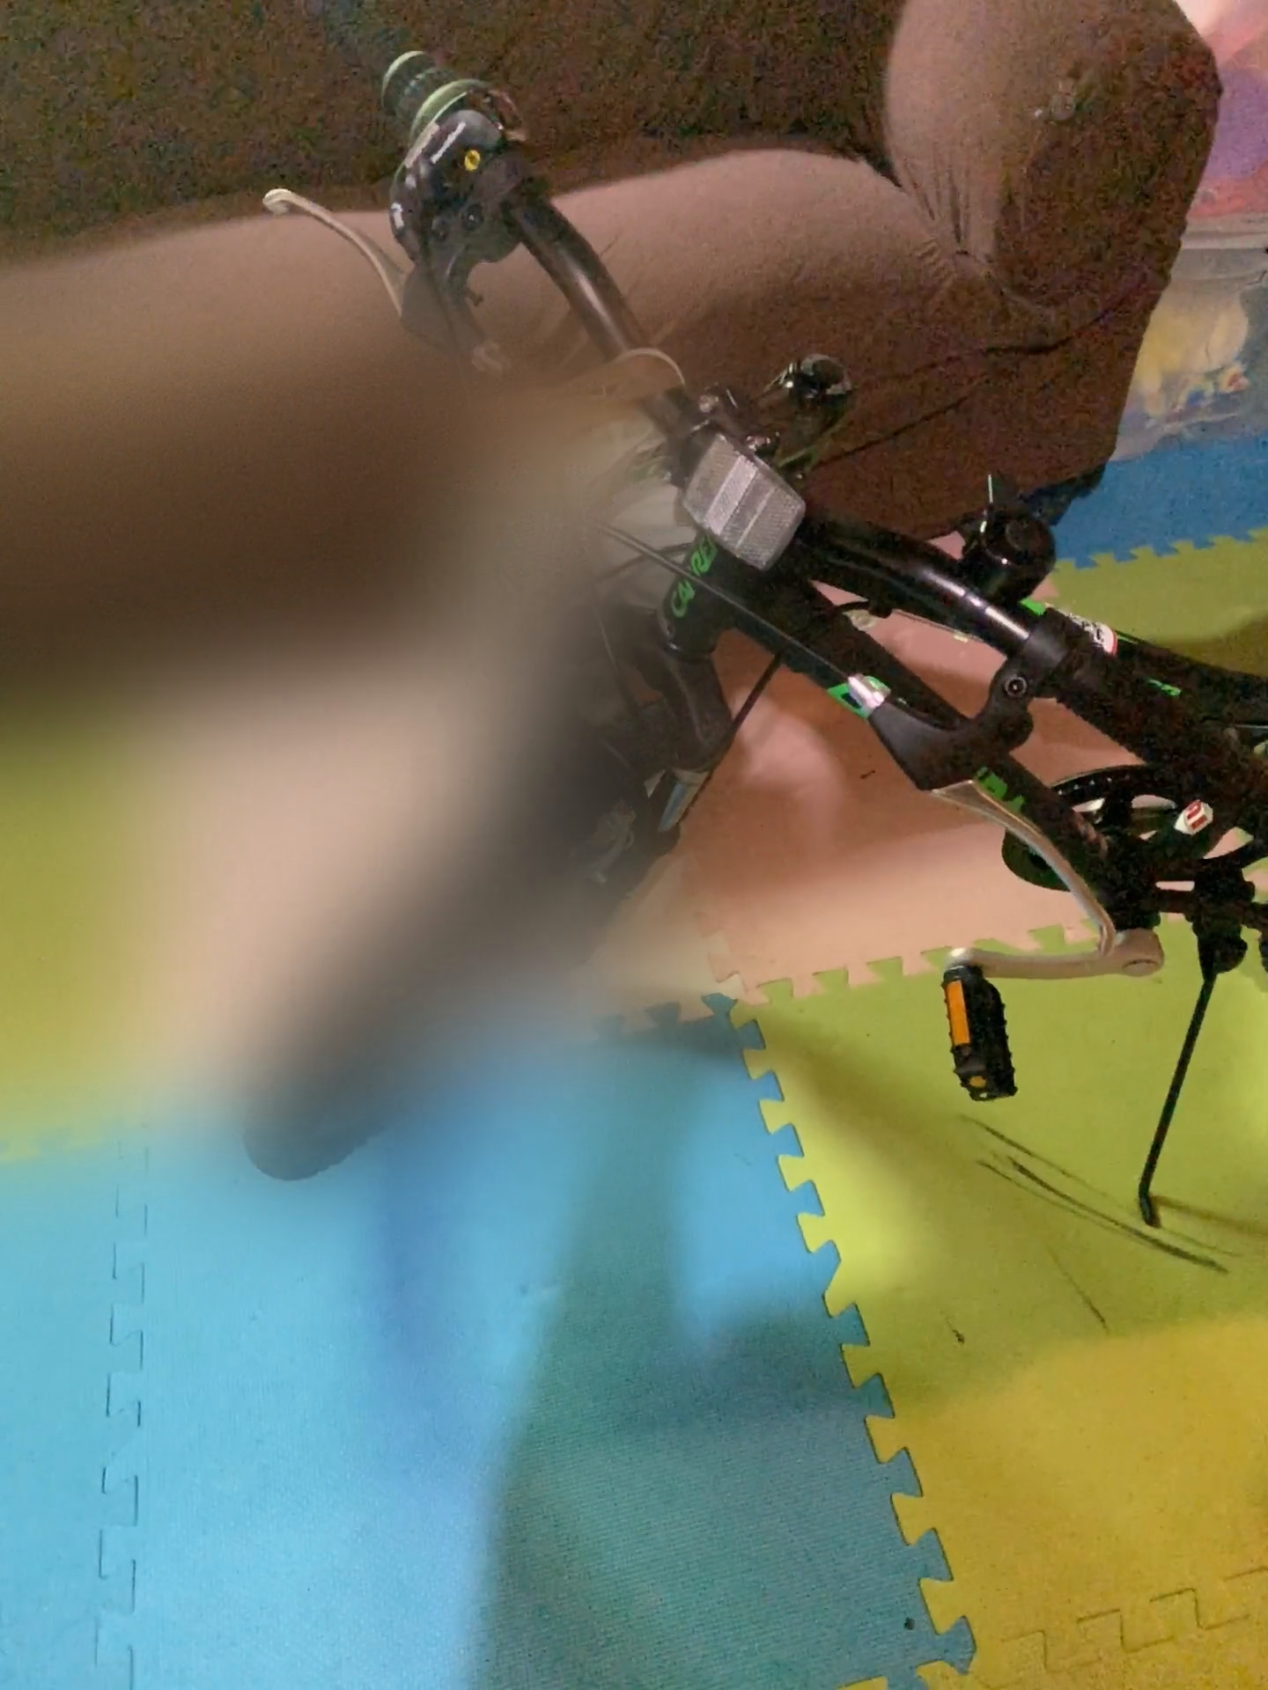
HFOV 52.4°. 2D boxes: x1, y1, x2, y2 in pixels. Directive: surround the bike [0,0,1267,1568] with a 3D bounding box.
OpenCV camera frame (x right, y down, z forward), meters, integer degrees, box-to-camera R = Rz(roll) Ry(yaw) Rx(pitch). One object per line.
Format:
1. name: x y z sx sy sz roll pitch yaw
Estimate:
1. bike: 0.339 -0.028 0.855 1.268 0.841 0.536 -8 48 -2
